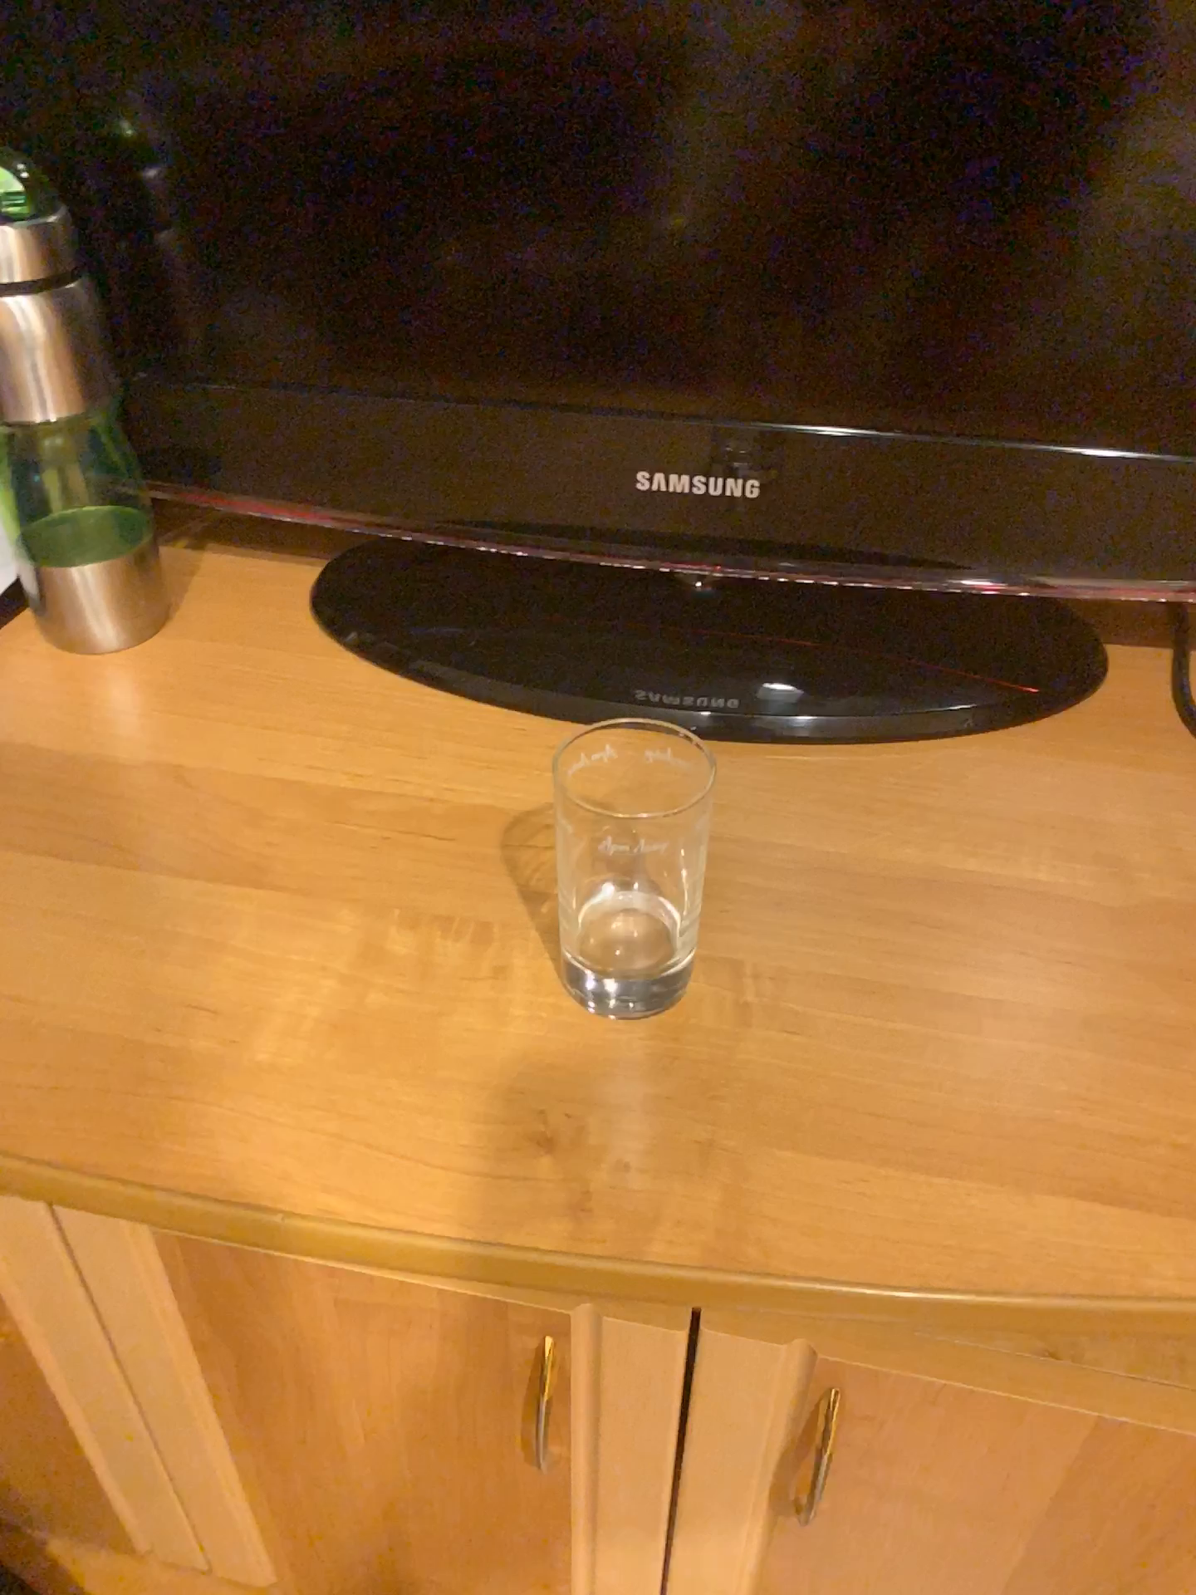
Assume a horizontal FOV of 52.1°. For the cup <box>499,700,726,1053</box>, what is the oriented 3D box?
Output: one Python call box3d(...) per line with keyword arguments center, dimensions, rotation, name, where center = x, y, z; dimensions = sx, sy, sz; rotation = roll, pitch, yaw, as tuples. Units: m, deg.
box3d(center=(0.006, 0.028, 0.430), dimensions=(0.060, 0.098, 0.060), rotation=(0, 37, 0), name="cup")
